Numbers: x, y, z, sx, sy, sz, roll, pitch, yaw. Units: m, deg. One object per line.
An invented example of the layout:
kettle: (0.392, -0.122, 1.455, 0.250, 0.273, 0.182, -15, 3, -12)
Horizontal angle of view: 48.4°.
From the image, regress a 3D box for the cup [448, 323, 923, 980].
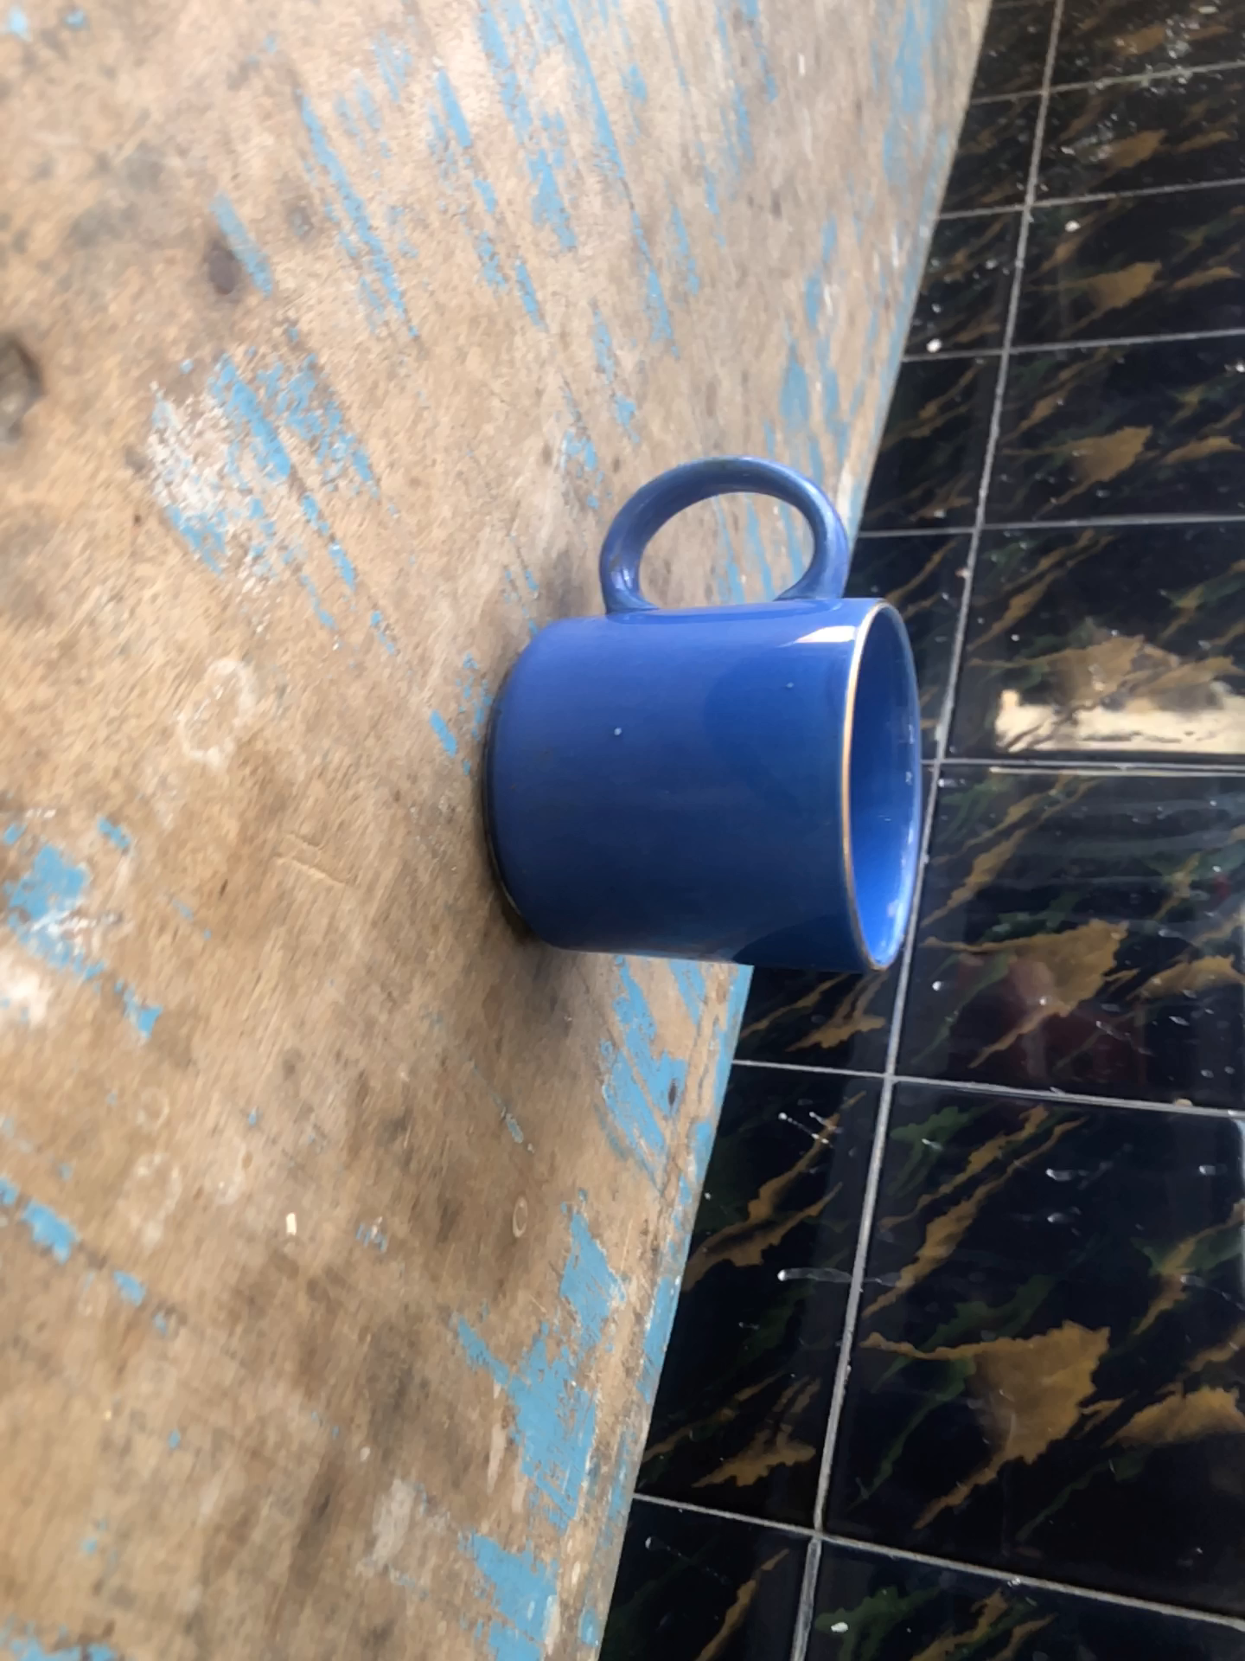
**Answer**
cup: (0.017, -0.028, 0.274, 0.070, 0.070, 0.110, 14, 78, -69)
